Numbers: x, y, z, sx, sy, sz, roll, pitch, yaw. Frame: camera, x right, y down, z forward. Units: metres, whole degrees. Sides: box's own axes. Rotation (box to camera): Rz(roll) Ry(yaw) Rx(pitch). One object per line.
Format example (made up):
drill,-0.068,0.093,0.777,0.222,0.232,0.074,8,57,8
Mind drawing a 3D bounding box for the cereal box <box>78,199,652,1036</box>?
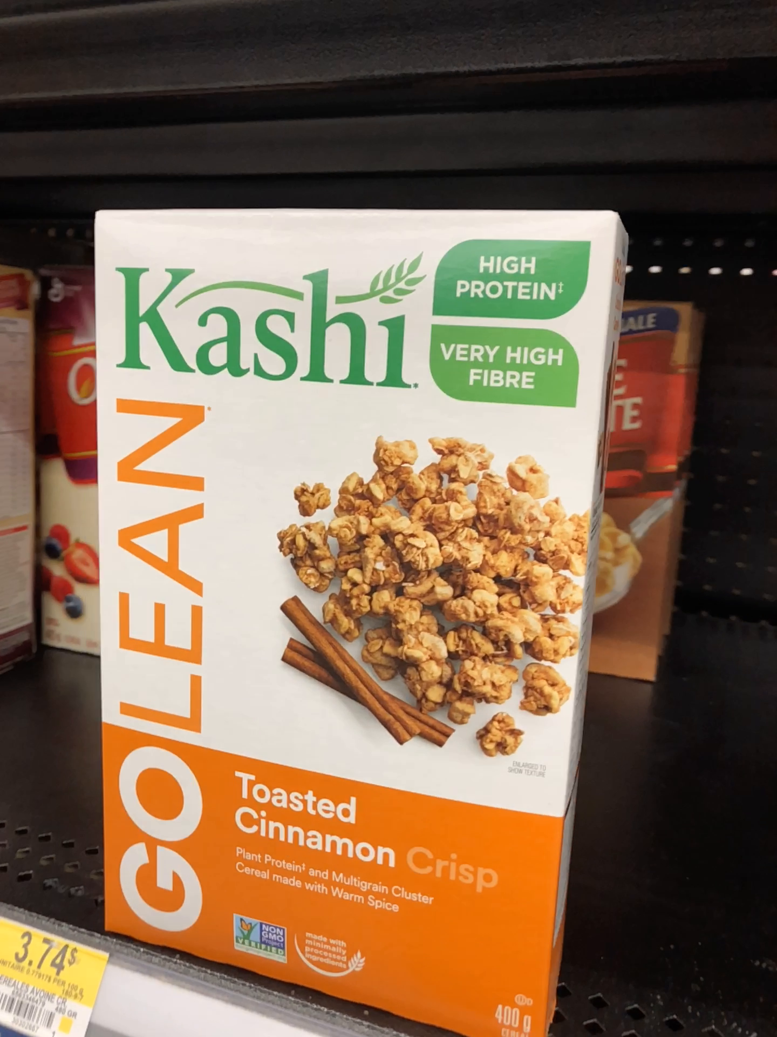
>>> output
cereal box,-0.014,0.028,0.289,0.170,0.249,0.050,6,11,18
